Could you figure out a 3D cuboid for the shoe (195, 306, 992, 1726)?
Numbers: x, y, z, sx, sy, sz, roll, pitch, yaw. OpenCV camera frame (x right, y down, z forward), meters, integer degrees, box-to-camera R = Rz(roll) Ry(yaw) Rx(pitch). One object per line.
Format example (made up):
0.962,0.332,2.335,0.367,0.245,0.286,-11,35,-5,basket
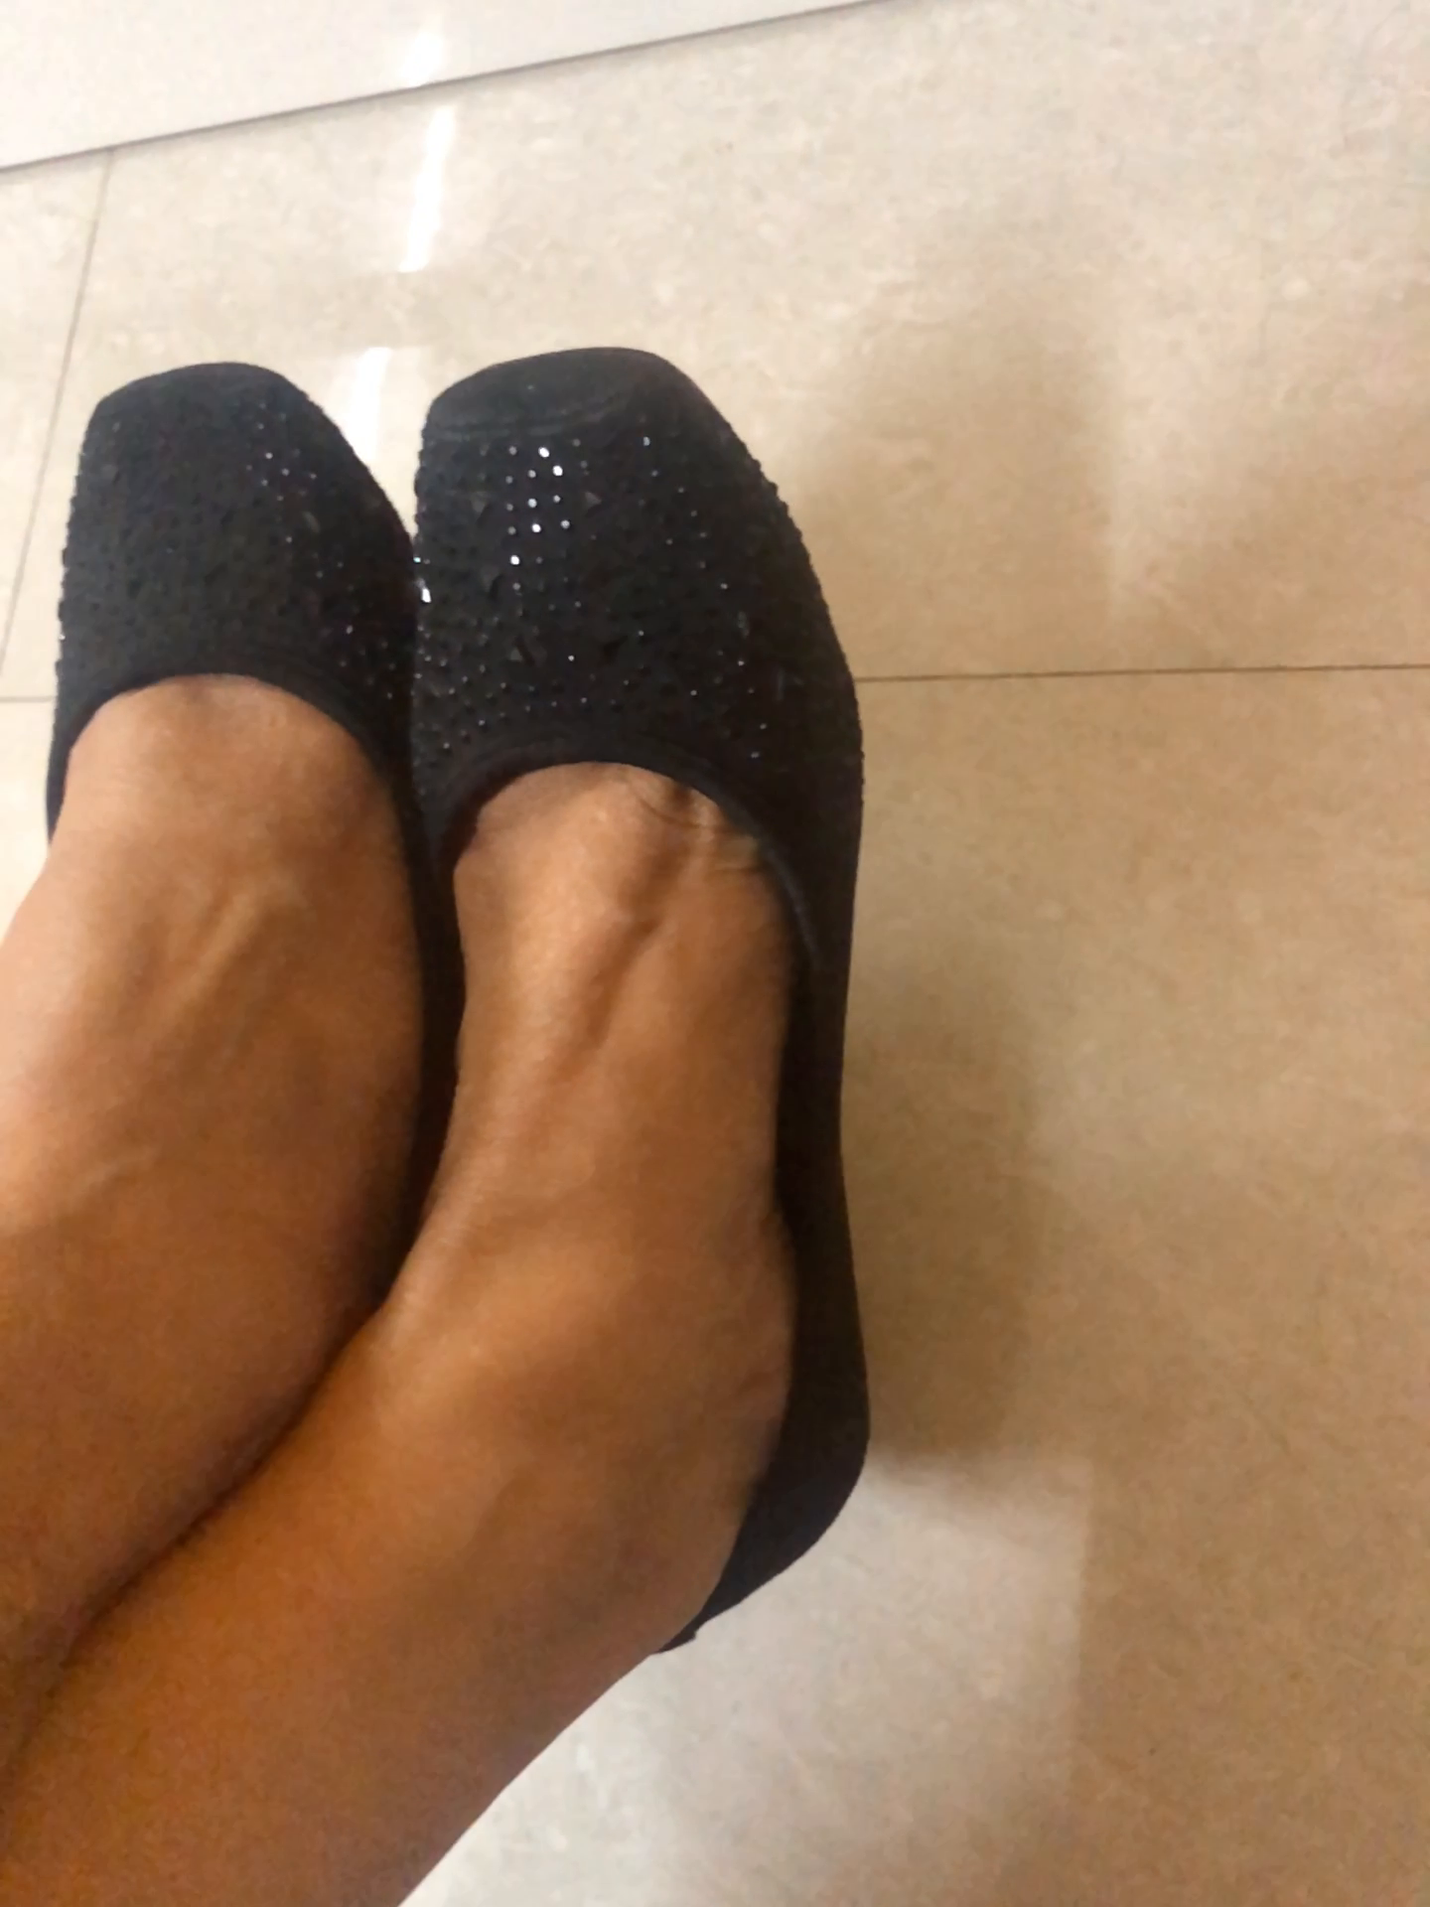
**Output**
-0.010,0.013,0.299,0.100,0.070,0.239,2,111,23,shoe

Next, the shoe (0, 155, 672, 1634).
-0.088,-0.003,0.333,0.100,0.070,0.270,-8,99,13,shoe
